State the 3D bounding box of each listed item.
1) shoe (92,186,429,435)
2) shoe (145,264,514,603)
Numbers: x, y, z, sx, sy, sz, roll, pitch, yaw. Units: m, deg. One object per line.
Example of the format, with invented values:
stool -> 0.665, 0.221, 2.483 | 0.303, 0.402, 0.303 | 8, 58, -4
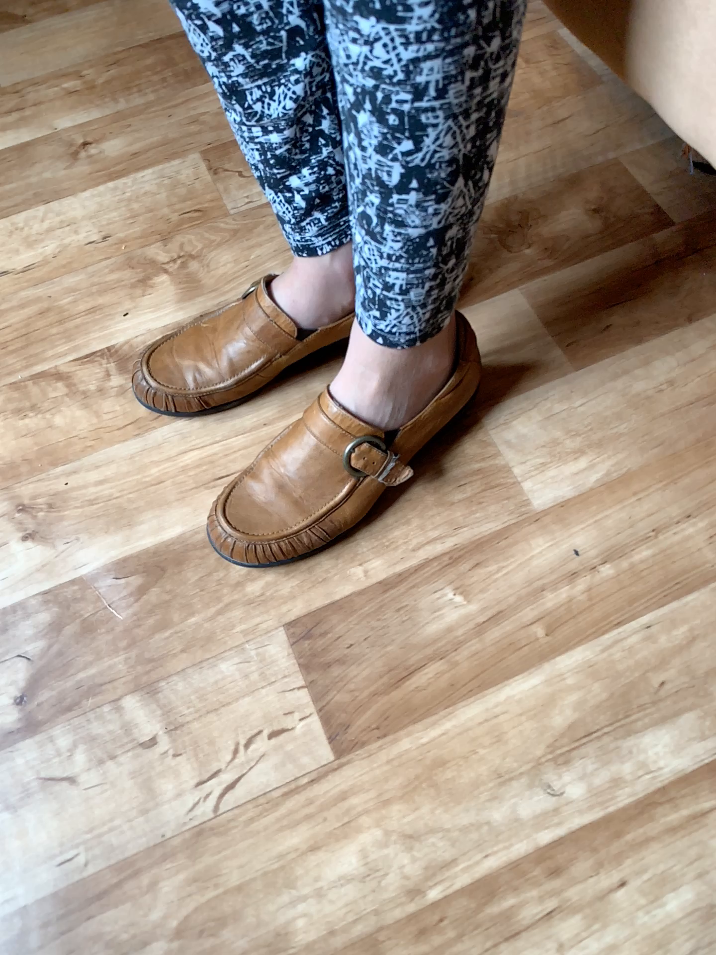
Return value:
shoe -> -0.059, -0.107, 0.469 | 0.190, 0.070, 0.080 | -18, 63, -5
shoe -> -0.011, -0.027, 0.421 | 0.190, 0.070, 0.080 | -37, 66, -14
